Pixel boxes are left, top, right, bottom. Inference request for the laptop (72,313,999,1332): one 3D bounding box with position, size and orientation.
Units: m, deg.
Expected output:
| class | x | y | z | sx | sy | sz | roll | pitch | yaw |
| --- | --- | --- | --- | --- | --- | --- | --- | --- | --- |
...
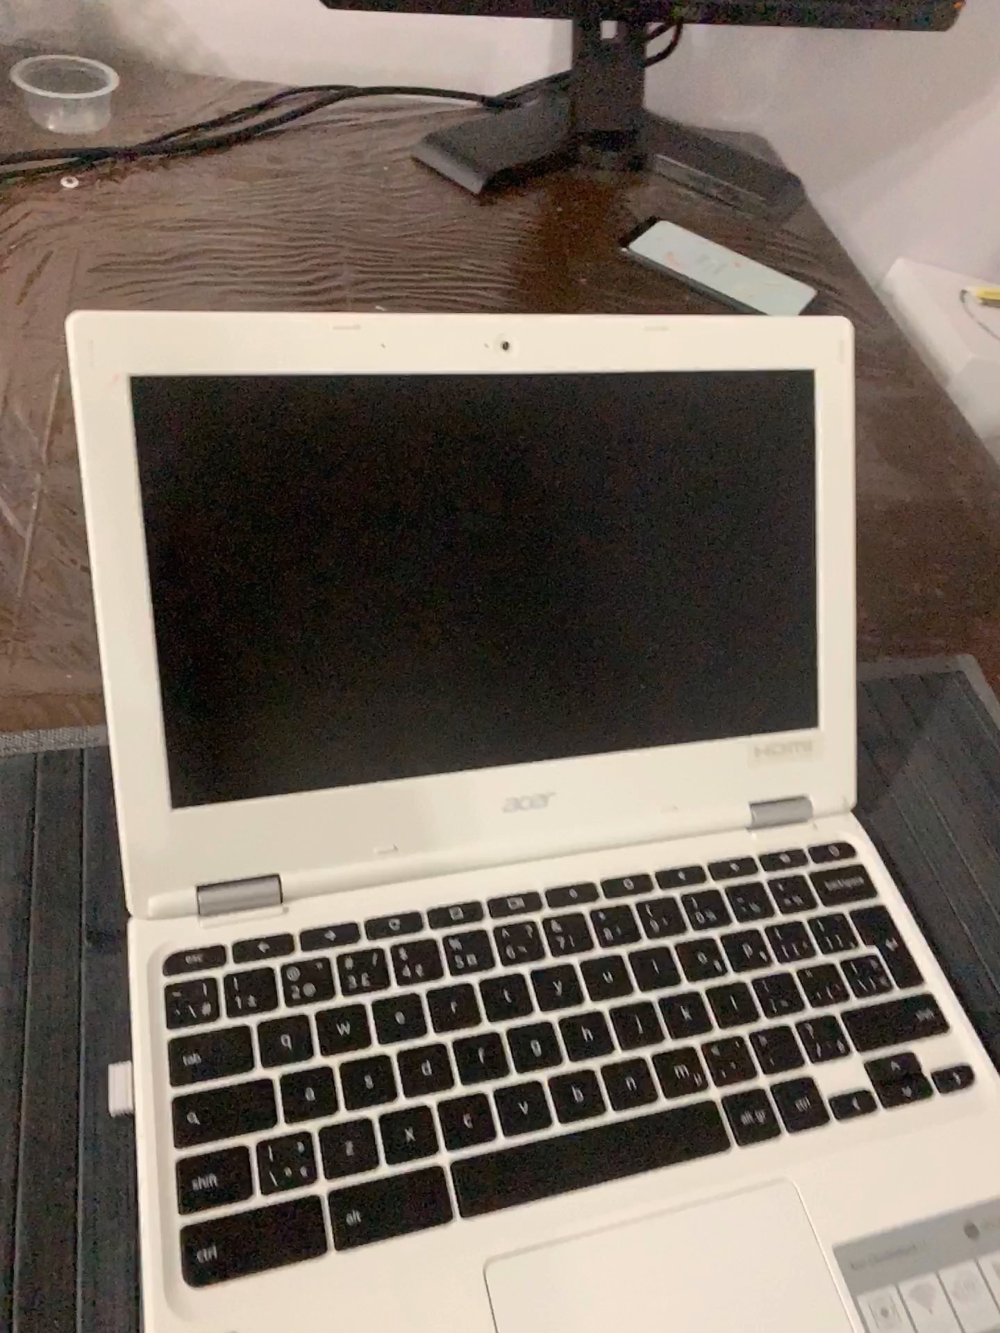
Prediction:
| class | x | y | z | sx | sy | sz | roll | pitch | yaw |
| --- | --- | --- | --- | --- | --- | --- | --- | --- | --- |
| laptop | 0.031 | 0.048 | 0.318 | 0.284 | 0.142 | 0.328 | -5 | 52 | -17 |
